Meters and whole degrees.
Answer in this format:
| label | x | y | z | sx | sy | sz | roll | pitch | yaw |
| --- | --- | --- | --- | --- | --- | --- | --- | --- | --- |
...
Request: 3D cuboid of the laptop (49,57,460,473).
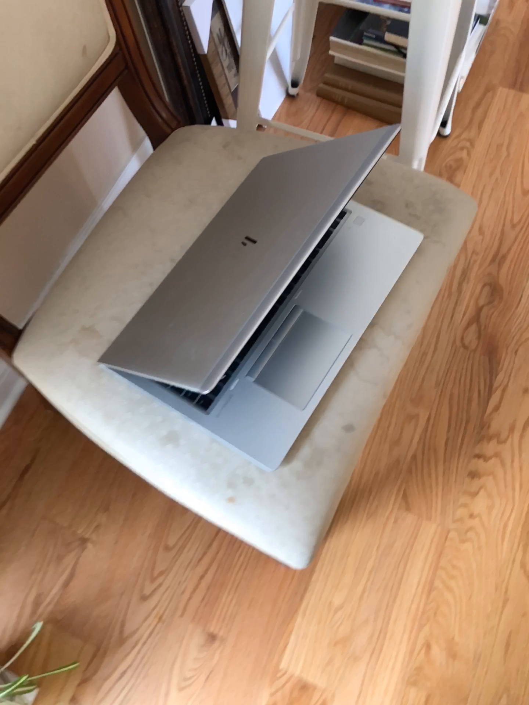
| label | x | y | z | sx | sy | sz | roll | pitch | yaw |
| --- | --- | --- | --- | --- | --- | --- | --- | --- | --- |
| laptop | 0.003 | -0.102 | 0.653 | 0.244 | 0.159 | 0.366 | 30 | 71 | 14 |
